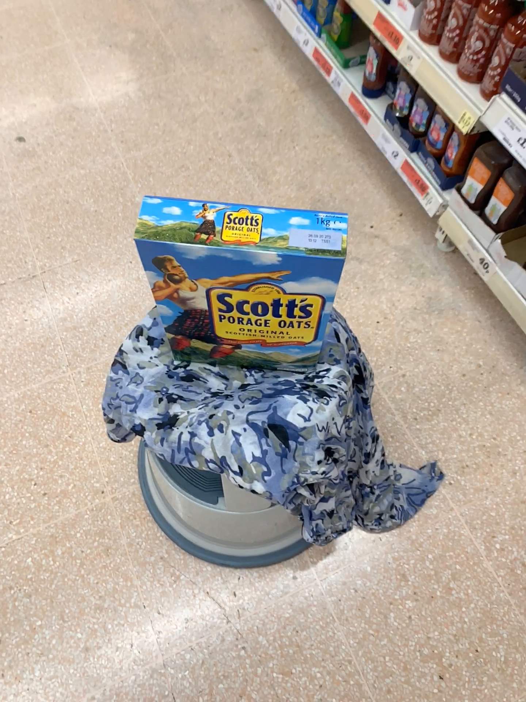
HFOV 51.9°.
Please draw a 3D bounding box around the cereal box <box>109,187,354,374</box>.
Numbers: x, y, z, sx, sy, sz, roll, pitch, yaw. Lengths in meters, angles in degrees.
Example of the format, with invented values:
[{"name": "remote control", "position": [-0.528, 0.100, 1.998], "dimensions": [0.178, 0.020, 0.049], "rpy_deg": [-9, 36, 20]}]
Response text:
[{"name": "cereal box", "position": [-0.026, -0.060, 0.590], "dimensions": [0.210, 0.249, 0.060], "rpy_deg": [6, 65, 2]}]
